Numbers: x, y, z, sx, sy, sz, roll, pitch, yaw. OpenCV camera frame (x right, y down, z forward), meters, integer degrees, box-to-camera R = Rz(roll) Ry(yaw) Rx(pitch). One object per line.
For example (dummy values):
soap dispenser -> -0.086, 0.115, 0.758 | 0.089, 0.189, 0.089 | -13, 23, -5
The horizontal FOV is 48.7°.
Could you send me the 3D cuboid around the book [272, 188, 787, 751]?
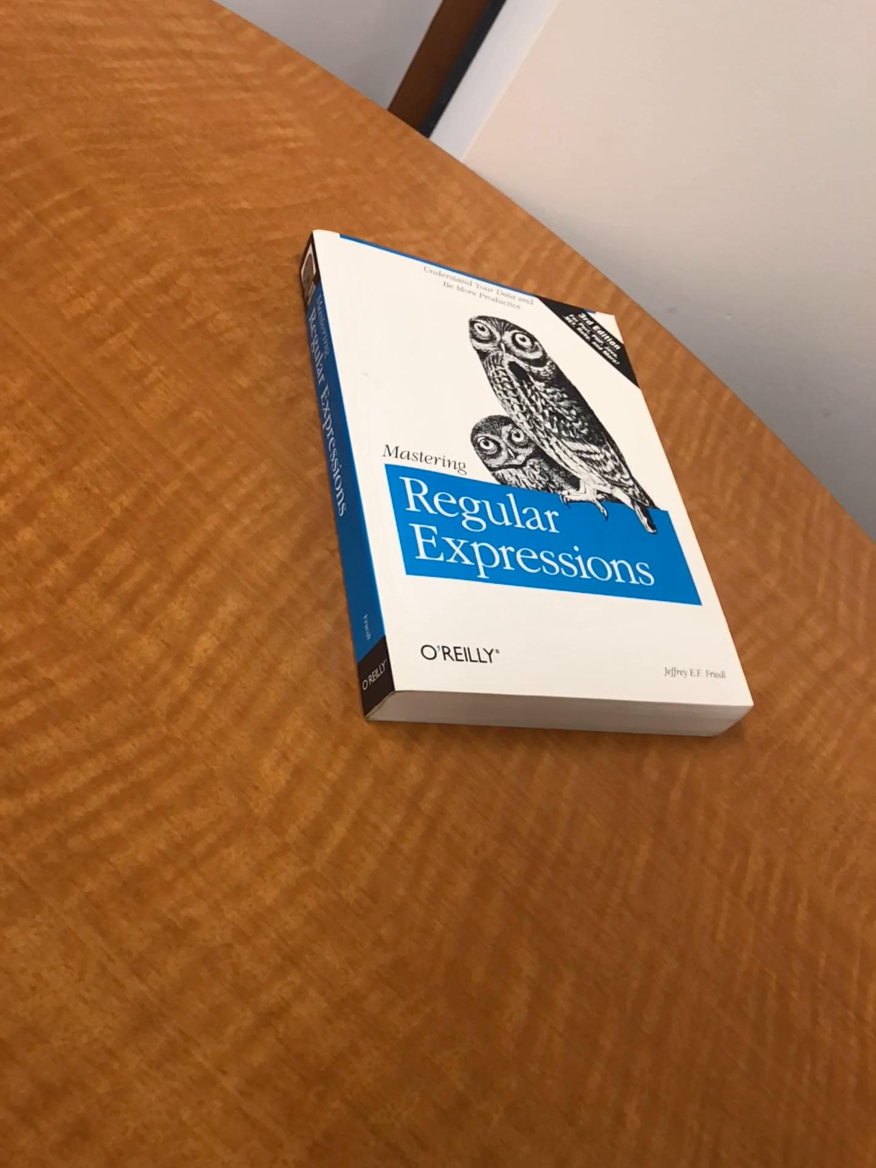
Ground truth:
book -> 0.036, -0.054, 0.455 | 0.201, 0.040, 0.261 | 7, 55, -30
